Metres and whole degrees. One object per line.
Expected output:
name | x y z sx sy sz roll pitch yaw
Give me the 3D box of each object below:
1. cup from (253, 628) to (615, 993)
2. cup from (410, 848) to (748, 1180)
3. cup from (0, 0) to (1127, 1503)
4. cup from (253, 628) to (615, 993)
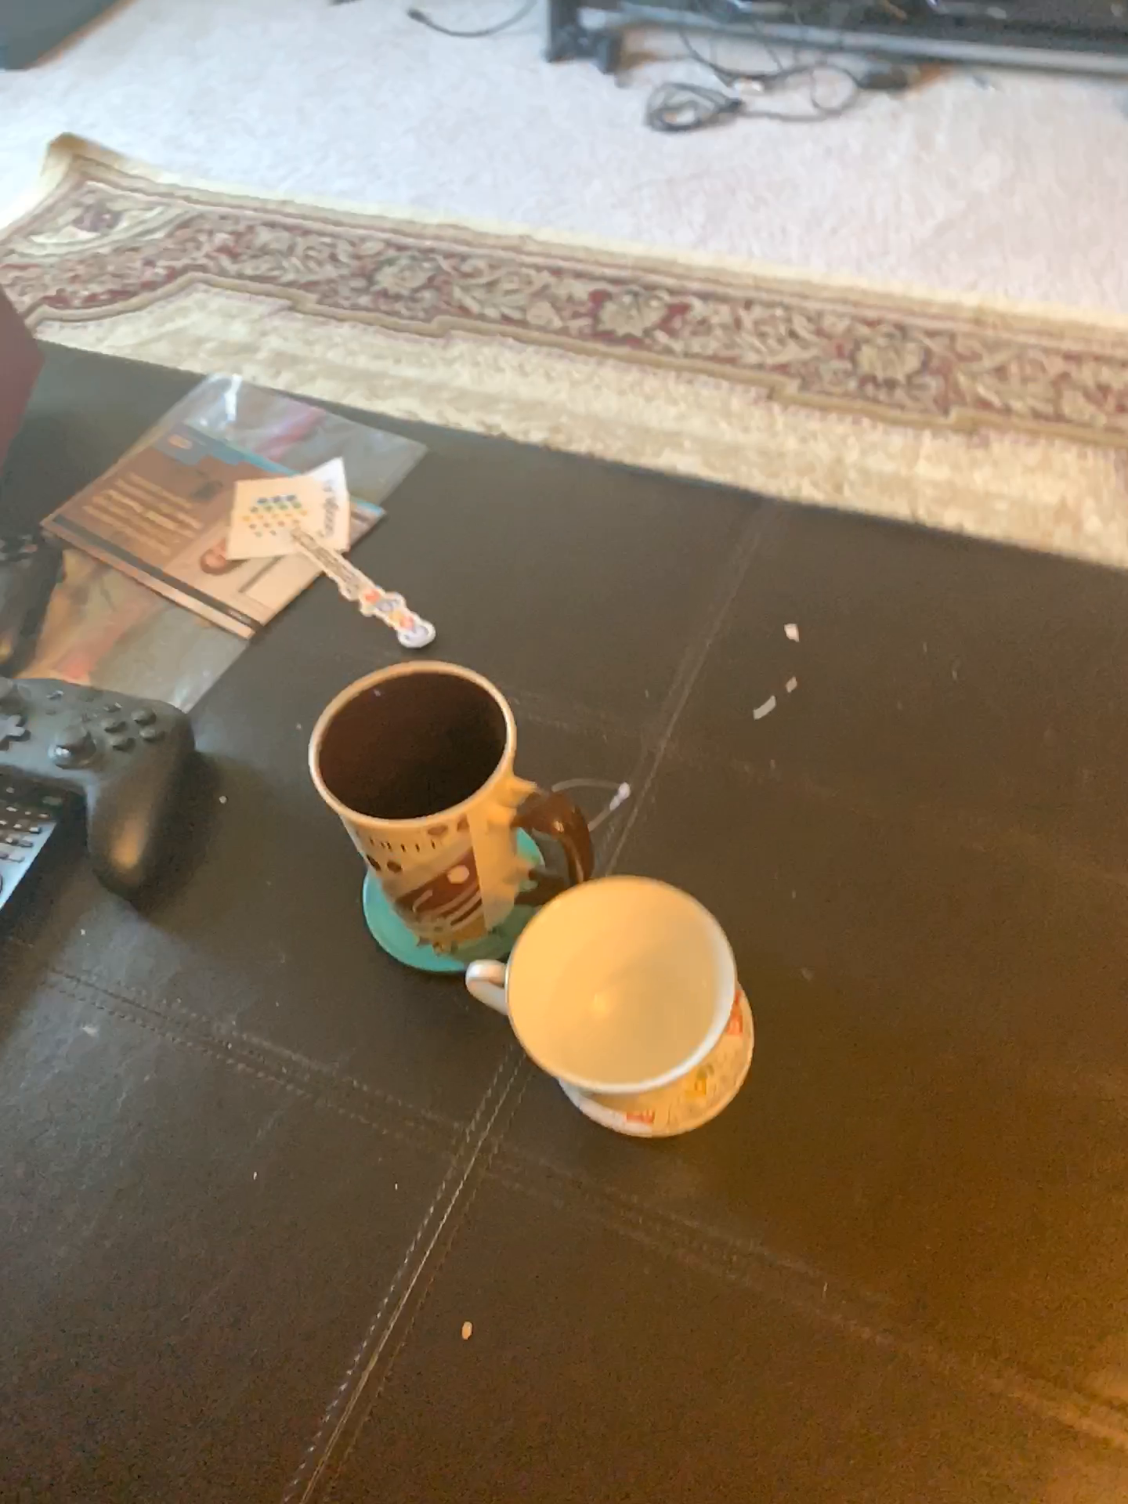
cup | -0.051 0.026 0.517 0.120 0.109 0.080 19 57 19
cup | 0.010 0.104 0.469 0.110 0.070 0.090 9 54 12
cup | -0.051 0.026 0.517 39.340 9.450 0.298 19 57 19
cup | -0.051 0.026 0.517 0.120 0.109 0.080 19 57 19
